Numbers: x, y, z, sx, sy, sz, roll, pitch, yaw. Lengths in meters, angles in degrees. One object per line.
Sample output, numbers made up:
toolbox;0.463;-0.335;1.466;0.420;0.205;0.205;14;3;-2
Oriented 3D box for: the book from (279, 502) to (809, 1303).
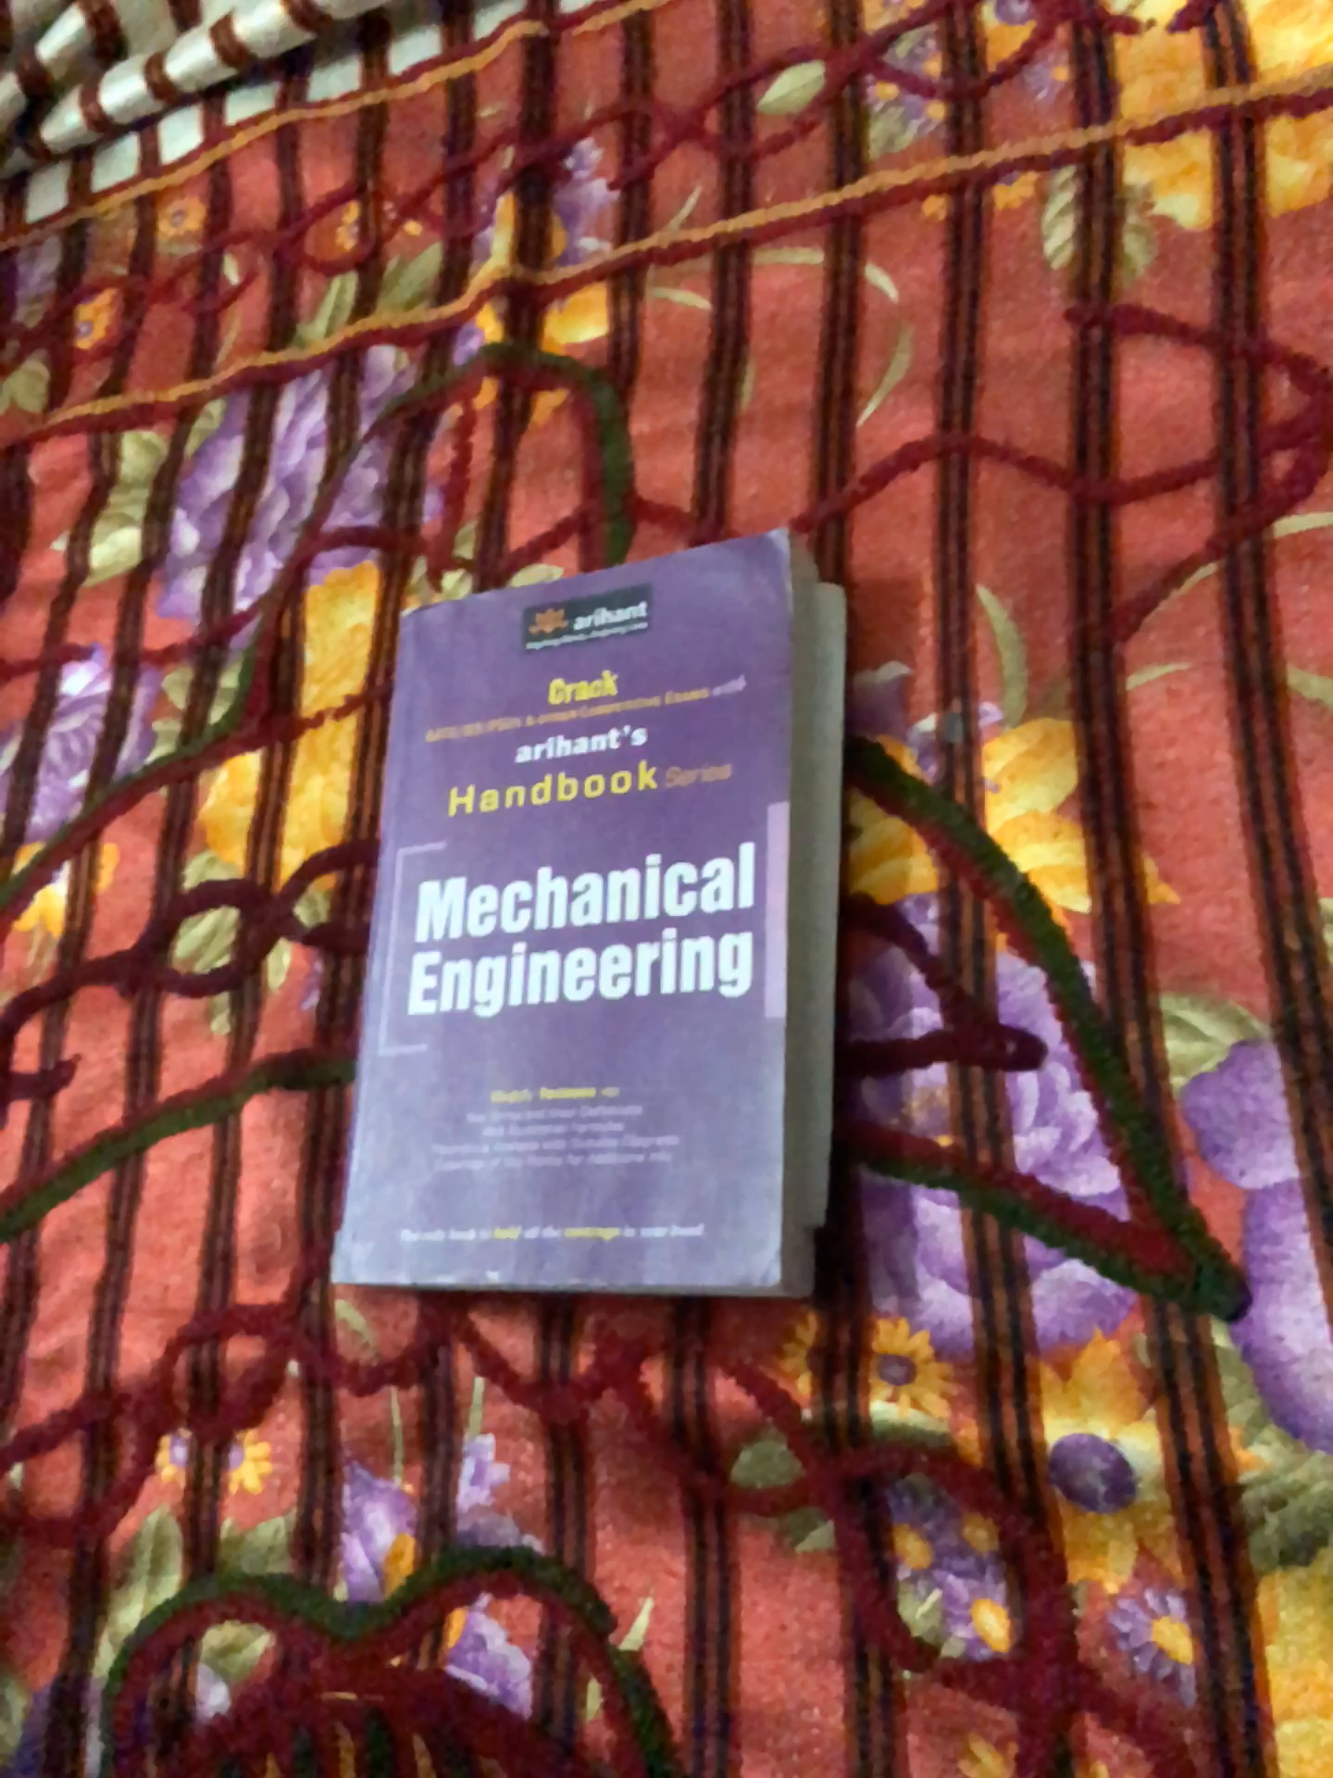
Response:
book;-0.033;0.006;0.458;0.147;0.040;0.231;-6;69;23
